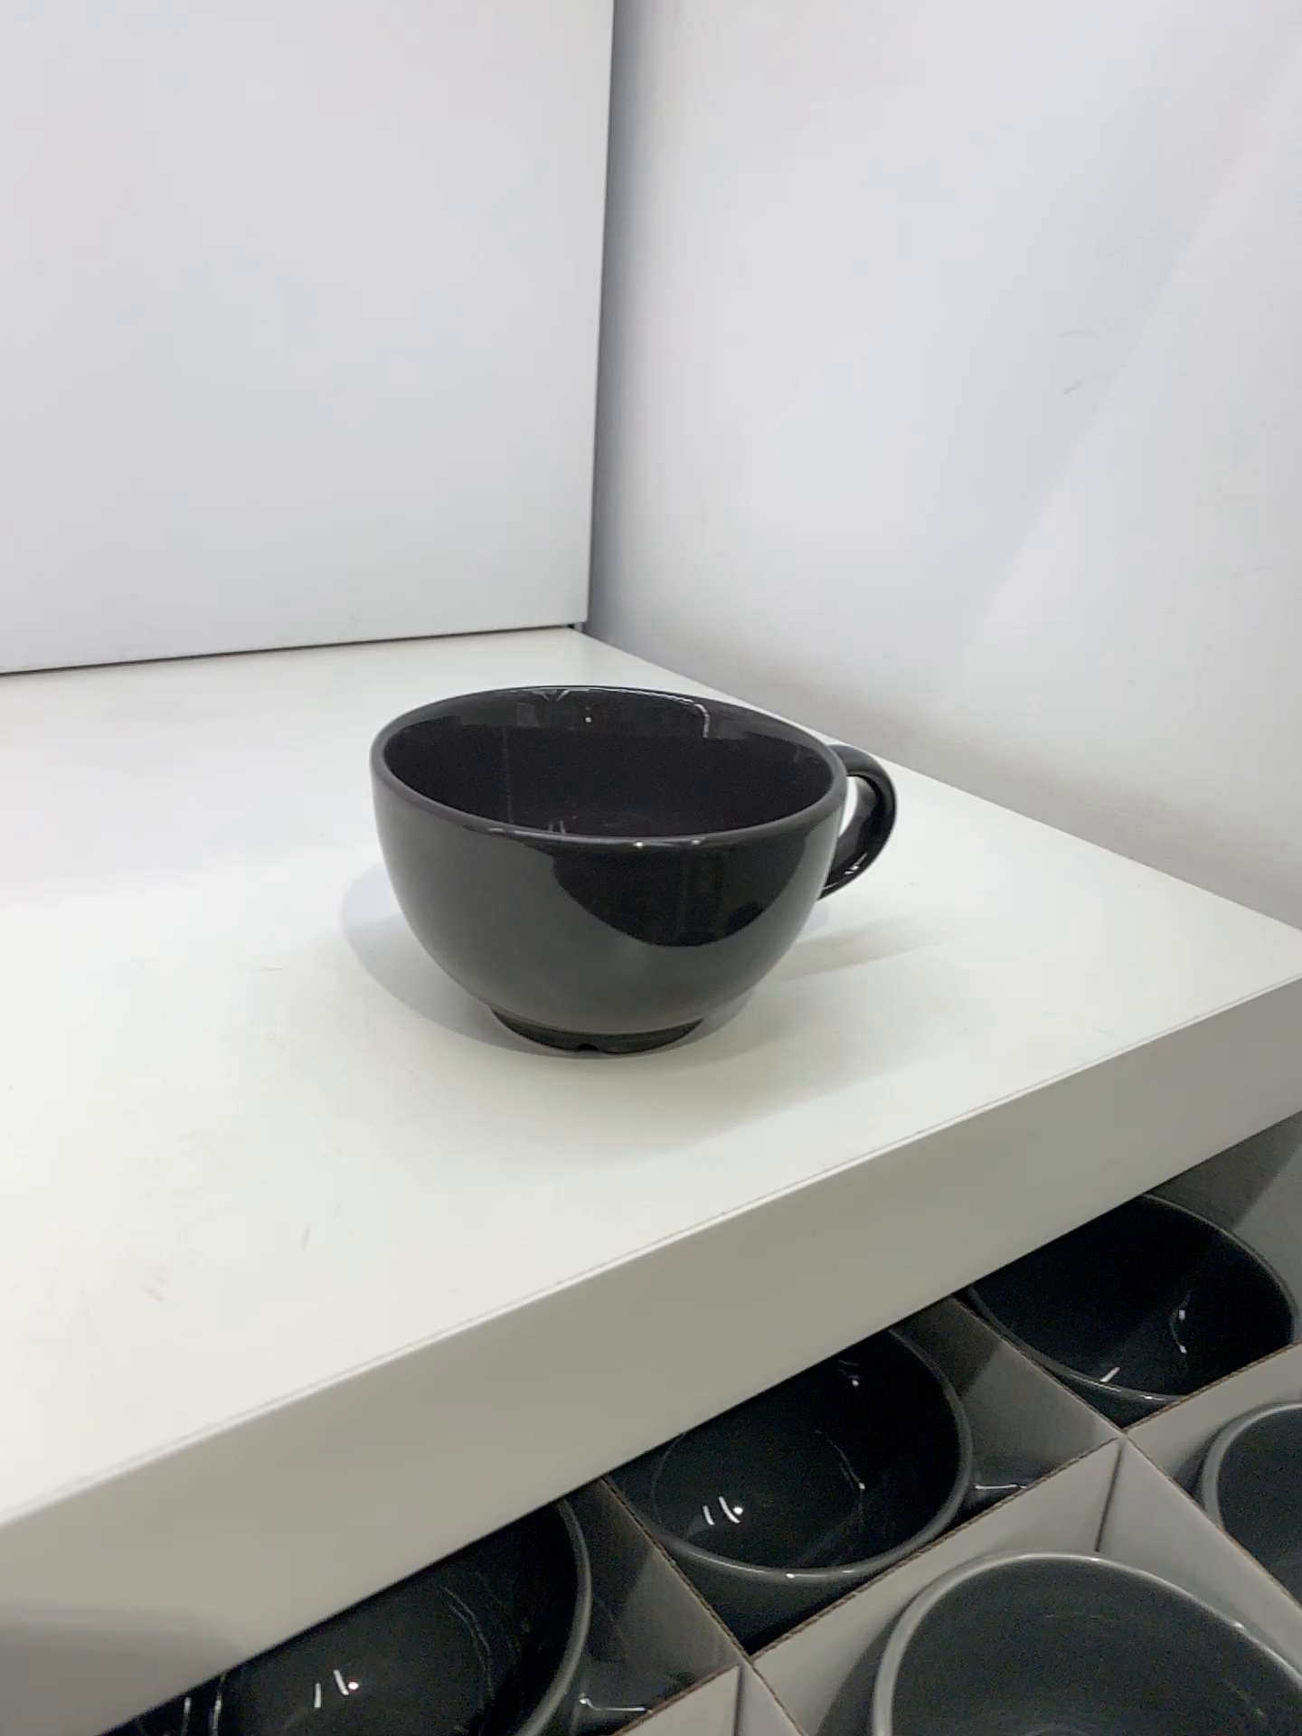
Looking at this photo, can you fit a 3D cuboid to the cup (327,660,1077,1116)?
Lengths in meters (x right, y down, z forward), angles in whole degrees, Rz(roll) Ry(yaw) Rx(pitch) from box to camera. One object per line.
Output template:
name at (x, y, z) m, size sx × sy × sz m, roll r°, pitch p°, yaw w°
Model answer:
cup at (0.007, -0.007, 0.309) m, size 0.130 × 0.050 × 0.110 m, roll -9°, pitch 25°, yaw -29°
